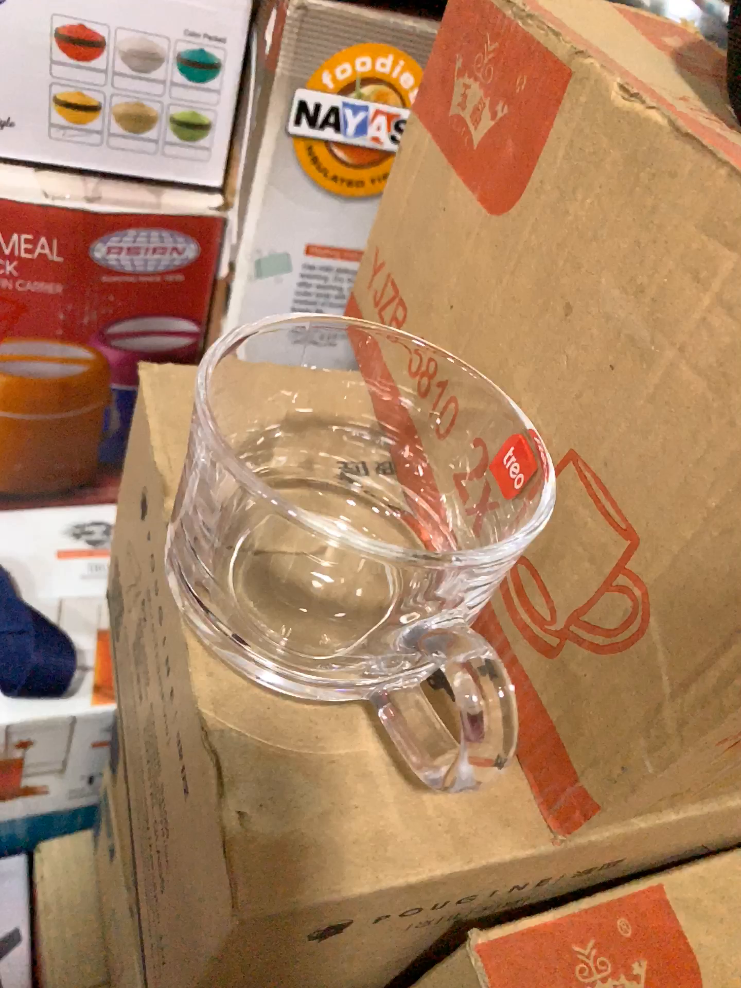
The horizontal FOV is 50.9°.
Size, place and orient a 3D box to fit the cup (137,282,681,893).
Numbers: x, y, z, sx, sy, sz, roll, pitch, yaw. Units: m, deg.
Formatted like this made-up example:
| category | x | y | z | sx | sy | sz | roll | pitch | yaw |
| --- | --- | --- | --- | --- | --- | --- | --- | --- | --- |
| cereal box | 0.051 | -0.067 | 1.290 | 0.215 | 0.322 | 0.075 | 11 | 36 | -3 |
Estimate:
| category | x | y | z | sx | sy | sz | roll | pitch | yaw |
| --- | --- | --- | --- | --- | --- | --- | --- | --- | --- |
| cup | -0.005 | 0.013 | 0.169 | 0.072 | 0.061 | 0.105 | -1 | 46 | -25 |
